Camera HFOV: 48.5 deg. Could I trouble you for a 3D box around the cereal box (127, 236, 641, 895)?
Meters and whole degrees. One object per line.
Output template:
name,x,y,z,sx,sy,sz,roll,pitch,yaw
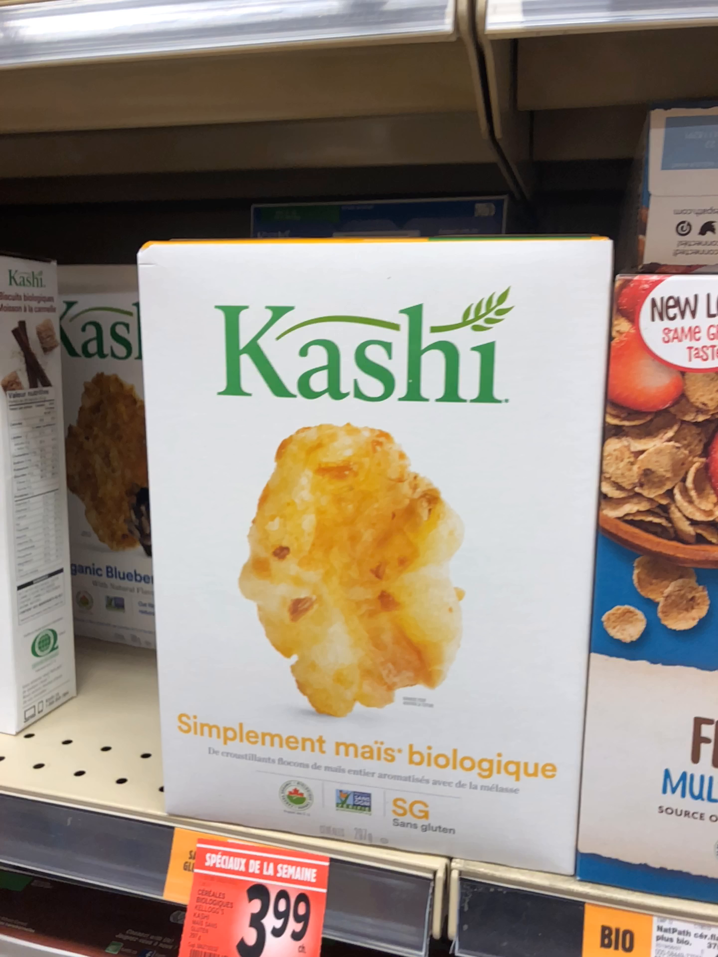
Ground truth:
cereal box,0.009,0.033,0.361,0.200,0.269,0.060,3,12,13
